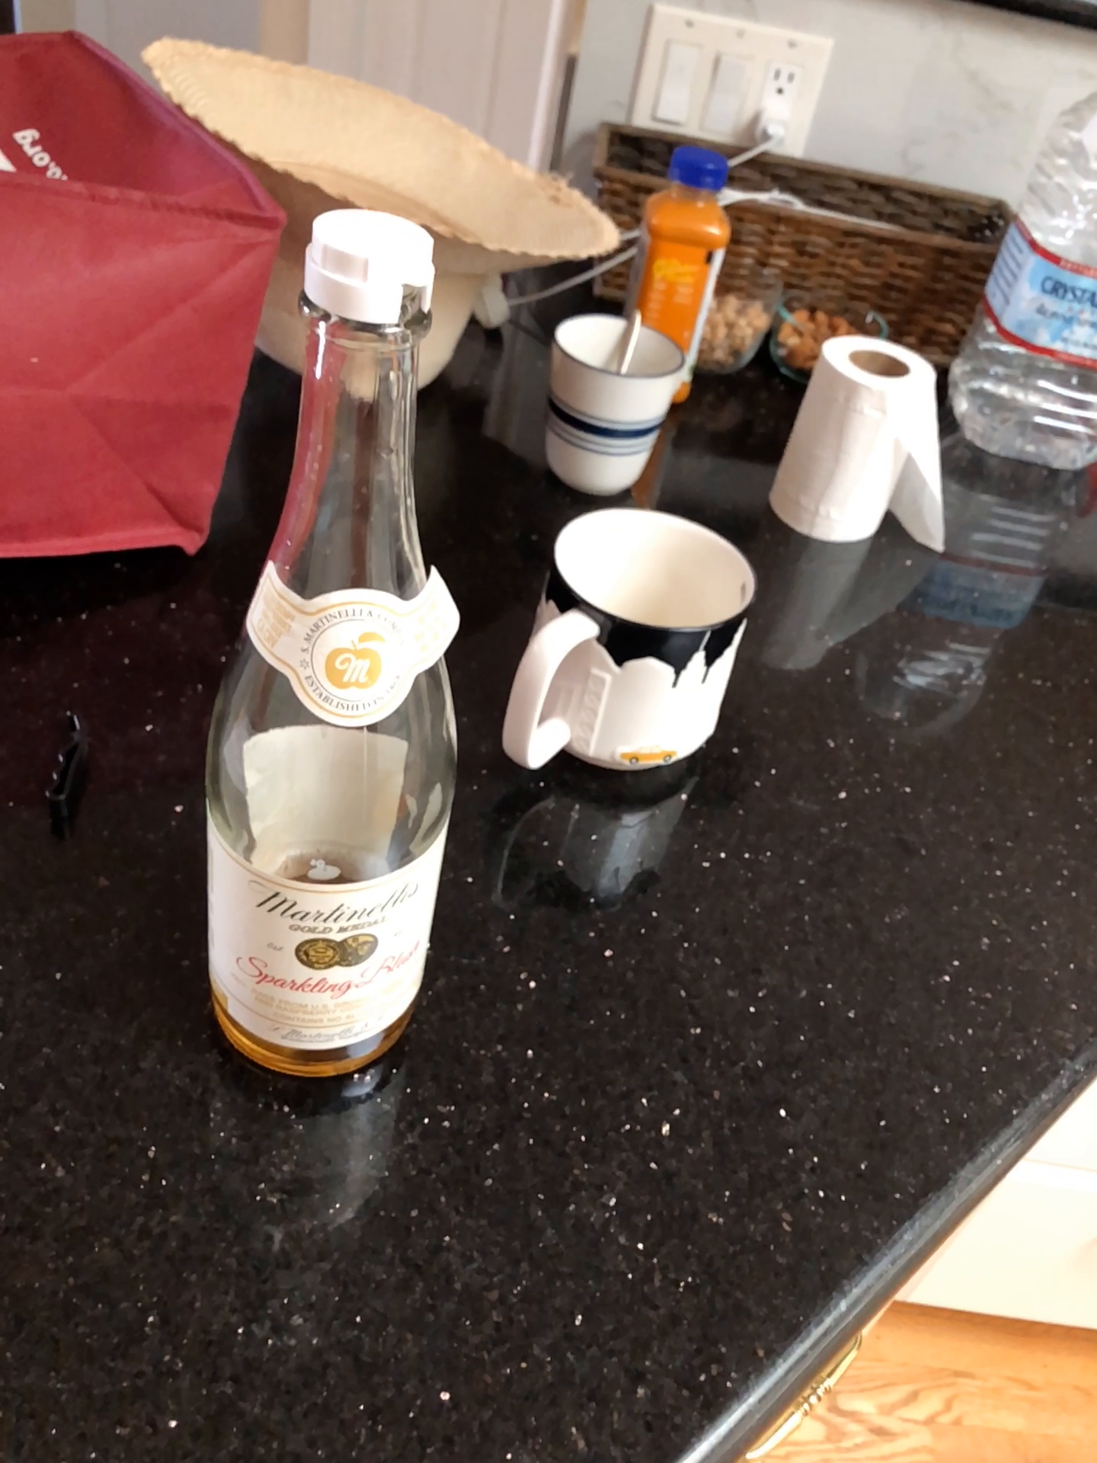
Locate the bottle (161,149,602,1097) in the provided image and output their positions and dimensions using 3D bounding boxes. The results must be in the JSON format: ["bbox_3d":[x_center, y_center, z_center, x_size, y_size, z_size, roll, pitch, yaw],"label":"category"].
[{"bbox_3d":[-0.069,-0.012,0.385,0.094,0.288,0.098,7,41,-6],"label":"bottle"}]
